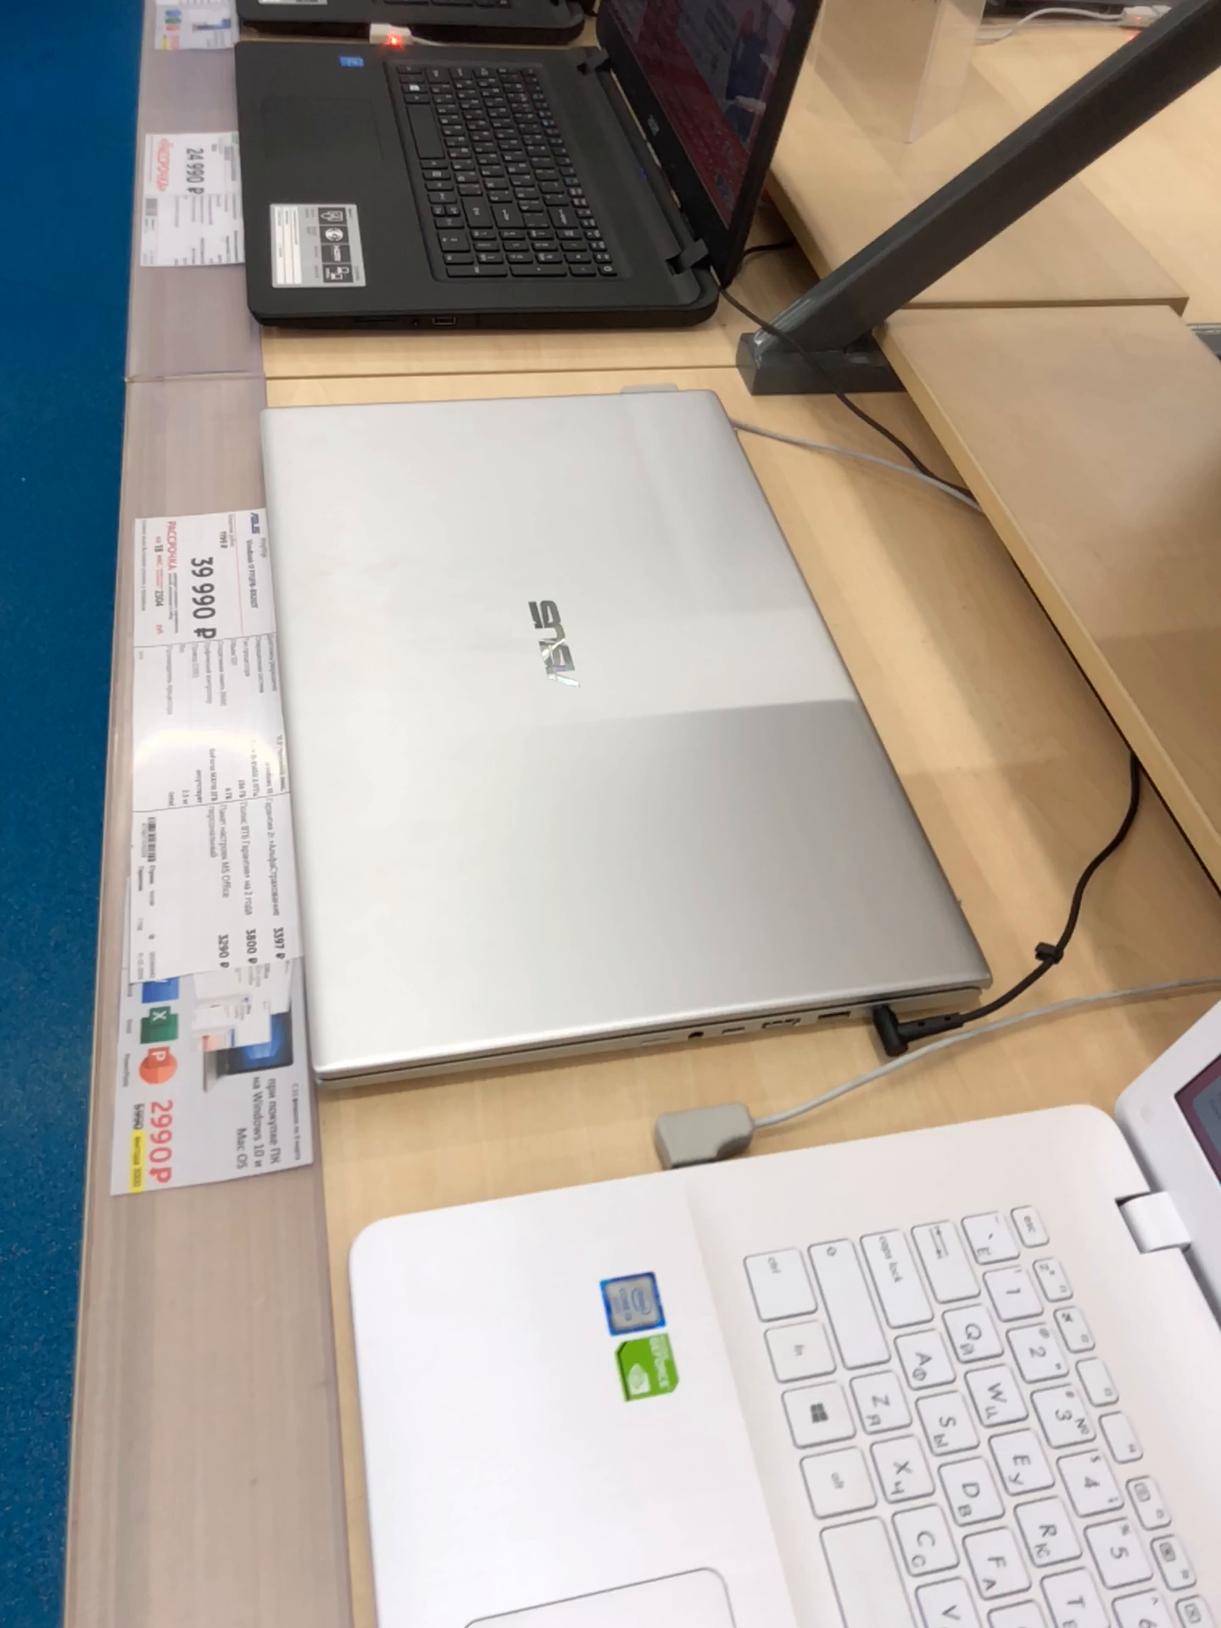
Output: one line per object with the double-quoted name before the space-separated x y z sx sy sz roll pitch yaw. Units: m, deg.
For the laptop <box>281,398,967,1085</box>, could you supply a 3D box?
"laptop" -0.021 -0.070 0.605 0.232 0.006 0.393 -7 50 -10
